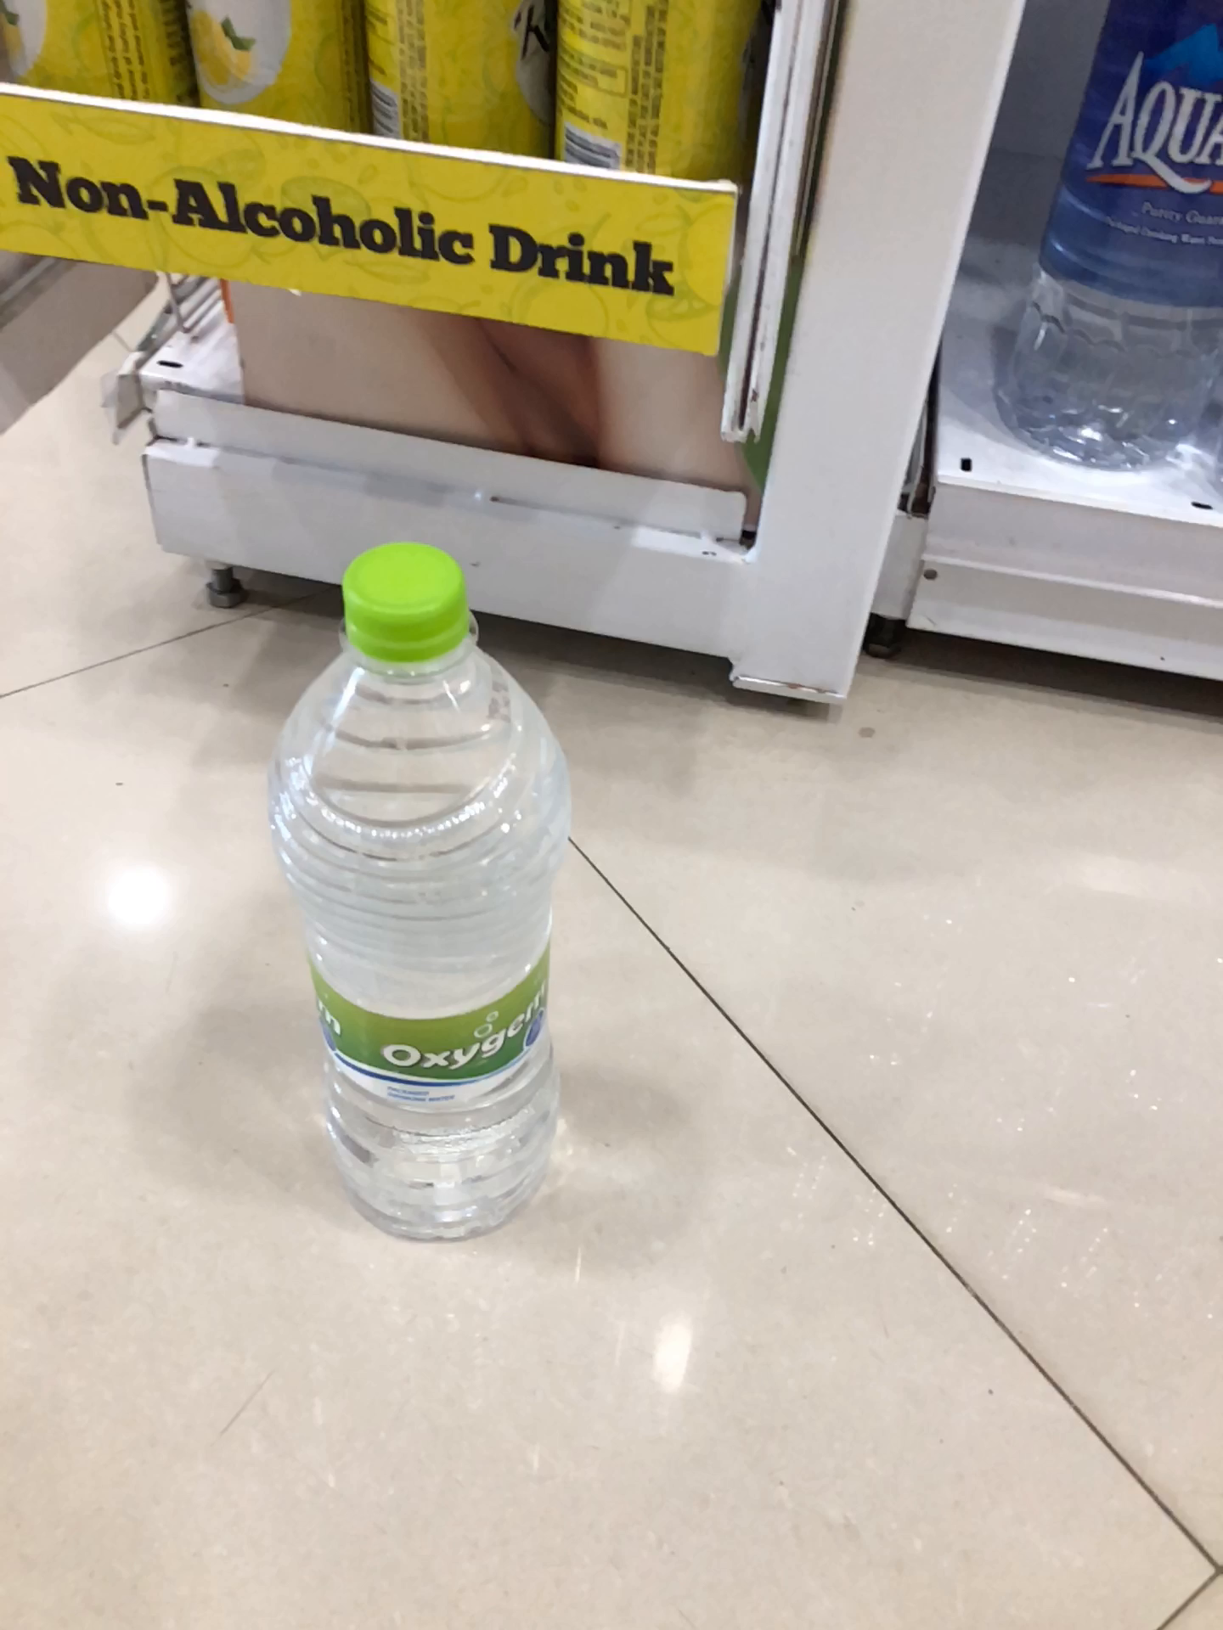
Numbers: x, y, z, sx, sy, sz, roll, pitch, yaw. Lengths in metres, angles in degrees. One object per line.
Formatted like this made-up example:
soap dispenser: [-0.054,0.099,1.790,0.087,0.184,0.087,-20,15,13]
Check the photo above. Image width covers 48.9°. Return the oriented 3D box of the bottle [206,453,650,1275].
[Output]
bottle: [-0.054,0.031,0.406,0.090,0.258,0.080,-9,47,-14]
